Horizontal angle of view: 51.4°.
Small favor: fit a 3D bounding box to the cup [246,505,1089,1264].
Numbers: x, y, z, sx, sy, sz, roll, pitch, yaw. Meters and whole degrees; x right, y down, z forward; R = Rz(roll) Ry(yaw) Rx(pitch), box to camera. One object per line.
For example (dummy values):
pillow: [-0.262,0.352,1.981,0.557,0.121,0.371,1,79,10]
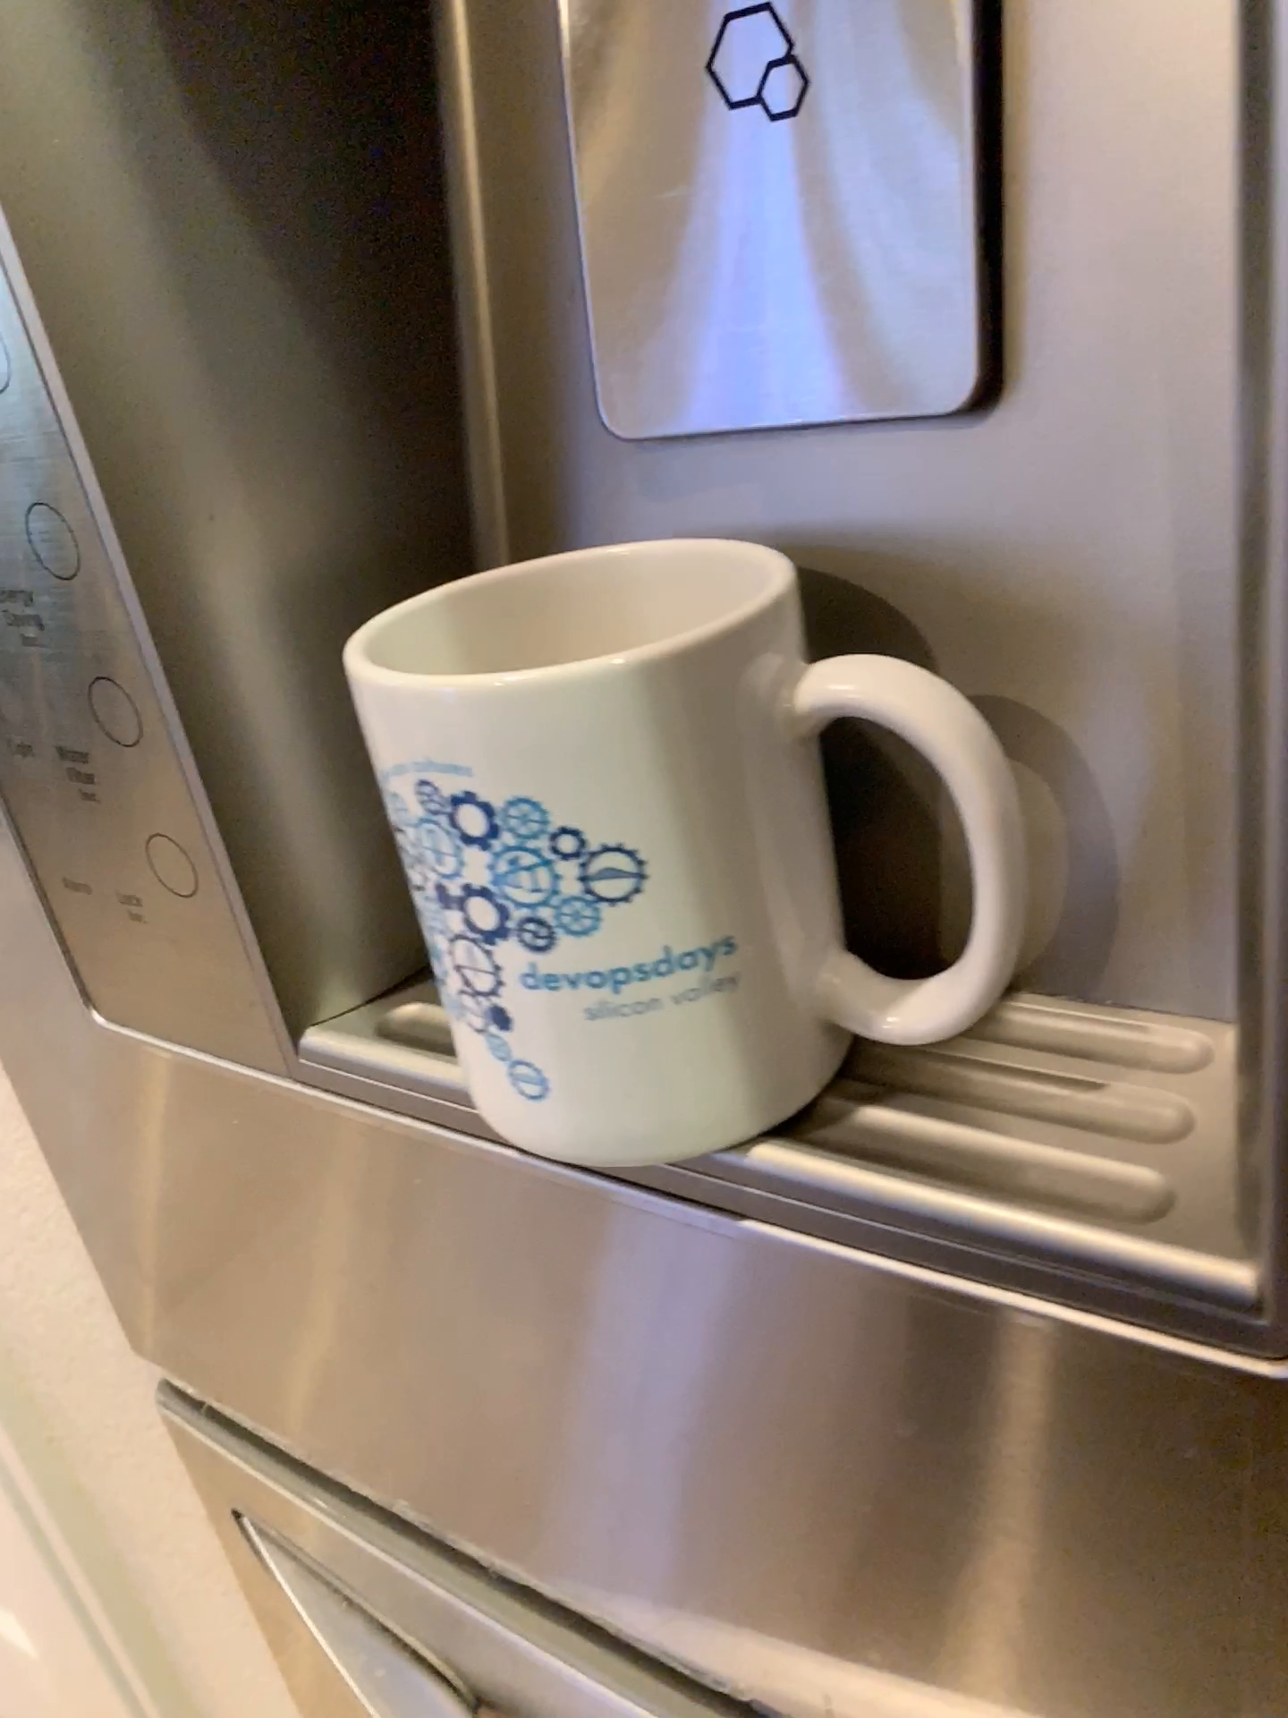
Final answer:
cup: [0.012,-0.002,0.251,0.120,0.099,0.080,3,29,28]
